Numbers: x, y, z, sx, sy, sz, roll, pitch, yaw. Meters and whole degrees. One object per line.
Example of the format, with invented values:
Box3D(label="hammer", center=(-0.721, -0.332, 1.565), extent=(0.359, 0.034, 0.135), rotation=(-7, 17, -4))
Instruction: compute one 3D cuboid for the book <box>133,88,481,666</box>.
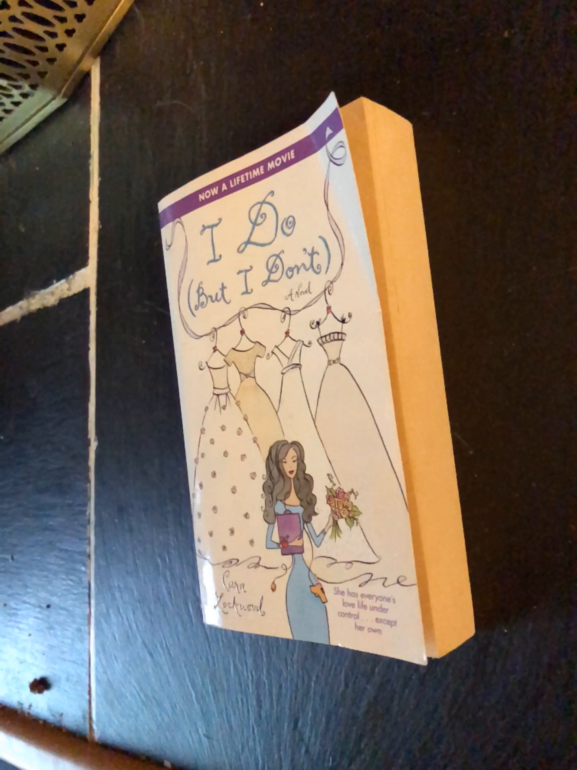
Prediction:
Box3D(label="book", center=(-0.001, 0.002, 0.229), extent=(0.111, 0.032, 0.164), rotation=(-9, 87, 41))
